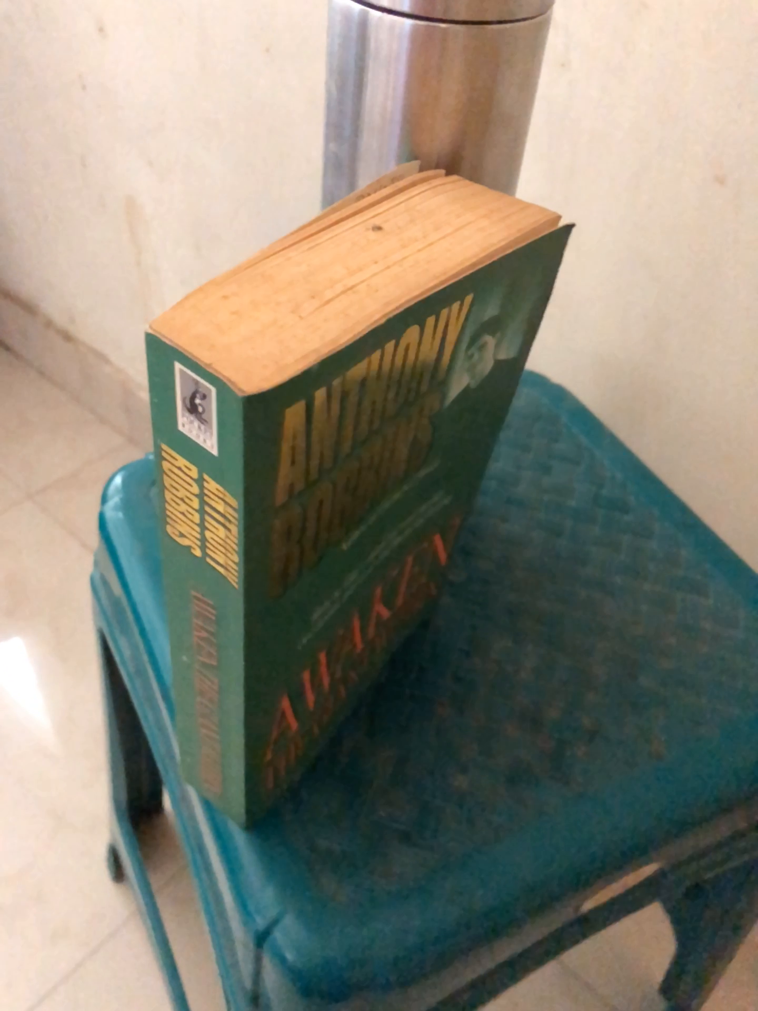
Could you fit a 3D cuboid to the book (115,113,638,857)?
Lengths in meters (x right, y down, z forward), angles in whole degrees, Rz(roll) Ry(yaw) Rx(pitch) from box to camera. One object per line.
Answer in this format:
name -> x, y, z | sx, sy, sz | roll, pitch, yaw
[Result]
book -> 0.001, 0.002, 0.273 | 0.050, 0.199, 0.140 | 31, 51, 21
